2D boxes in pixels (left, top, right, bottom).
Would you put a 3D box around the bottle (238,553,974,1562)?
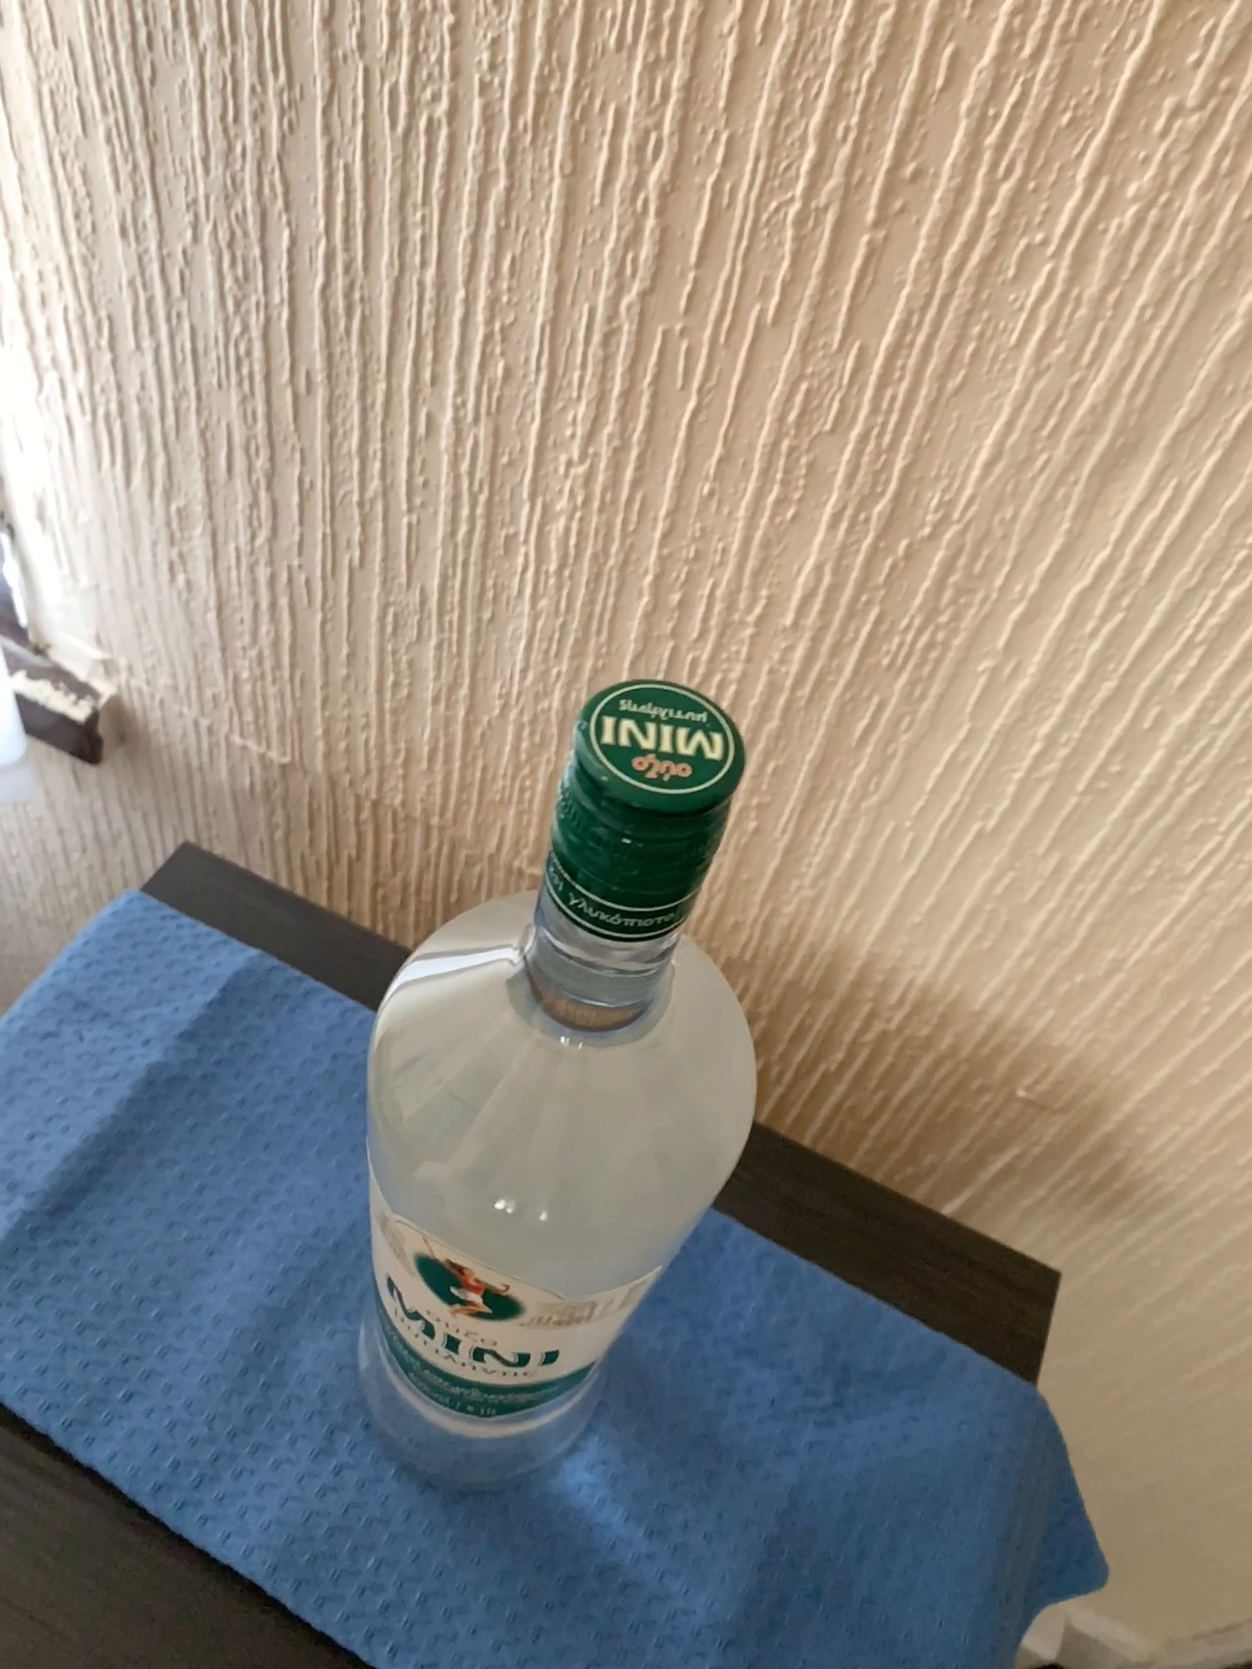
[{"bbox_3d":[-0.026,0.091,0.318,0.090,0.317,0.071,27,52,9],"label":"bottle"}]
